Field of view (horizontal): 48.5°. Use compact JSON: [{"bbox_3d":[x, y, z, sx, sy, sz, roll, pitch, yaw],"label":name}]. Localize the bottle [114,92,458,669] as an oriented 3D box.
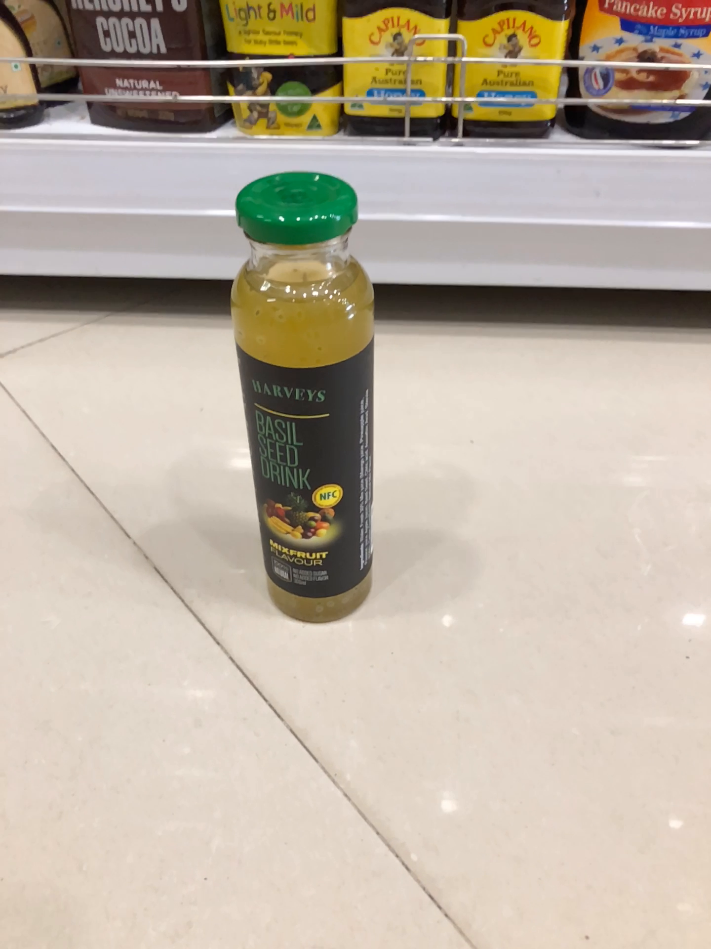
[{"bbox_3d":[-0.018,-0.026,0.302,0.080,0.199,0.070,16,43,18],"label":"bottle"}]
